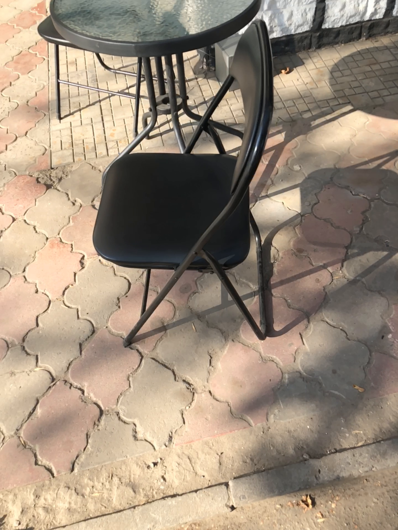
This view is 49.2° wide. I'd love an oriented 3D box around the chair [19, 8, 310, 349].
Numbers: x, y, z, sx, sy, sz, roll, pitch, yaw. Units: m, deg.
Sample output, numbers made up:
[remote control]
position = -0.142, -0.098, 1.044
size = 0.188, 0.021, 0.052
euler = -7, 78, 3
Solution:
[chair]
position = -0.033, -0.168, 1.125
size = 0.470, 0.698, 0.502
euler = -1, 53, 4
